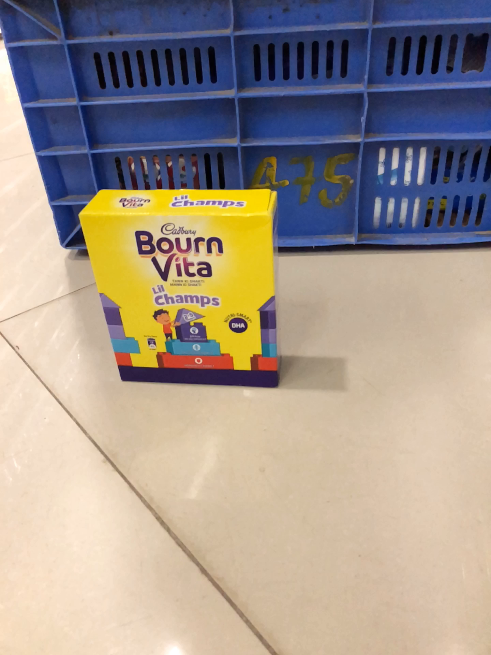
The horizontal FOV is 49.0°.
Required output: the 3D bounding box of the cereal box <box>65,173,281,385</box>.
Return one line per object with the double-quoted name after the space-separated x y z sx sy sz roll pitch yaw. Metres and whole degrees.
-0.050 -0.037 0.453 0.150 0.169 0.050 2 35 10 "cereal box"
